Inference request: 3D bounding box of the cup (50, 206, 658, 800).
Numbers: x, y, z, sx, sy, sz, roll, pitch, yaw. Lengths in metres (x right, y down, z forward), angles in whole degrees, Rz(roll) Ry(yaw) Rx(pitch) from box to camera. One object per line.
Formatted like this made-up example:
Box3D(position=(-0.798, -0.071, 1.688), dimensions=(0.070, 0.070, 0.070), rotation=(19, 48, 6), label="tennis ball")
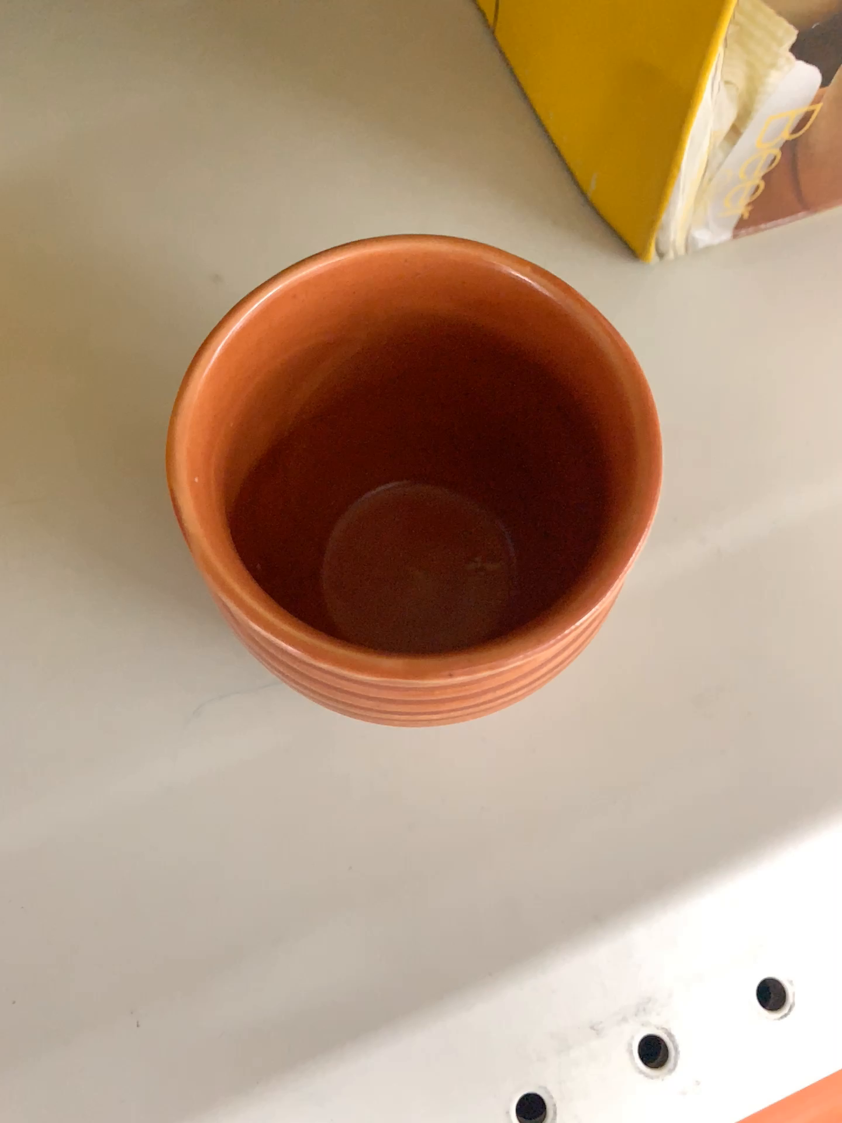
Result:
Box3D(position=(-0.006, -0.002, 0.139), dimensions=(0.060, 0.070, 0.060), rotation=(0, 71, -1), label="cup")
